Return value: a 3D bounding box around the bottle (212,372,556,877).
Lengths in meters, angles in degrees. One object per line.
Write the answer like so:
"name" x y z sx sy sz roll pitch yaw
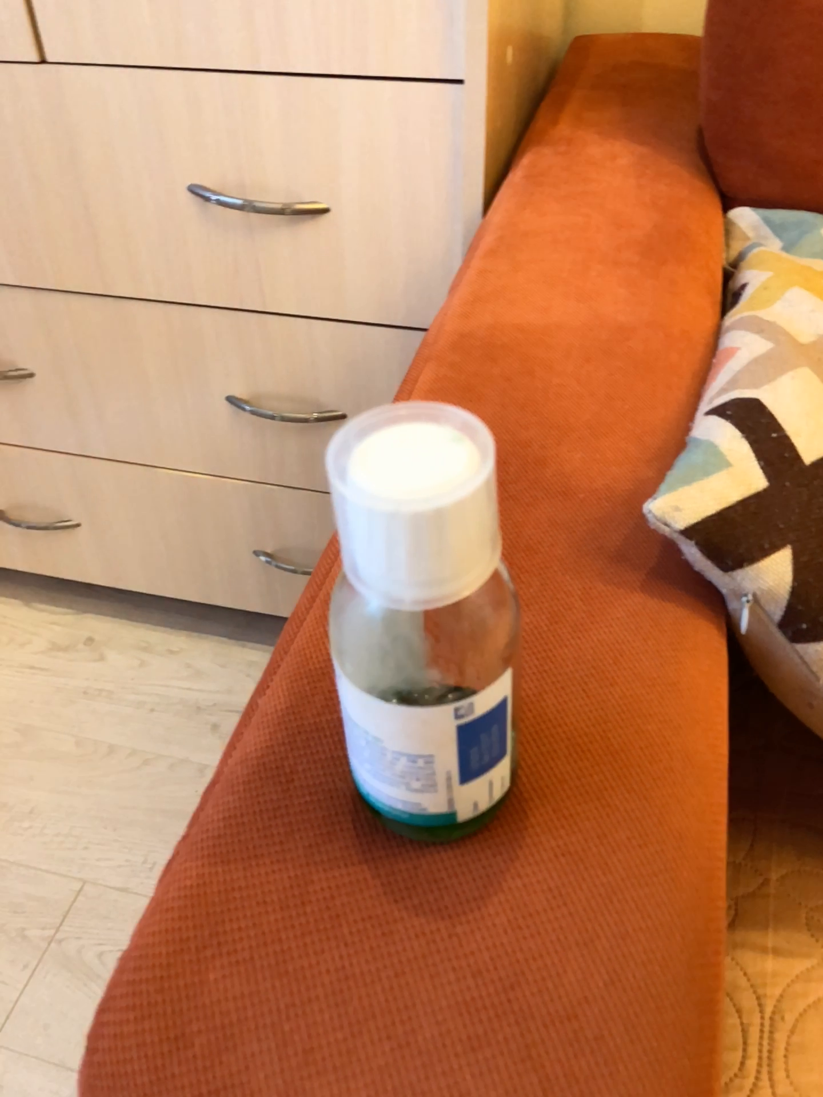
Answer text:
"bottle" -0.001 0.021 0.225 0.060 0.106 0.060 -1 40 1
